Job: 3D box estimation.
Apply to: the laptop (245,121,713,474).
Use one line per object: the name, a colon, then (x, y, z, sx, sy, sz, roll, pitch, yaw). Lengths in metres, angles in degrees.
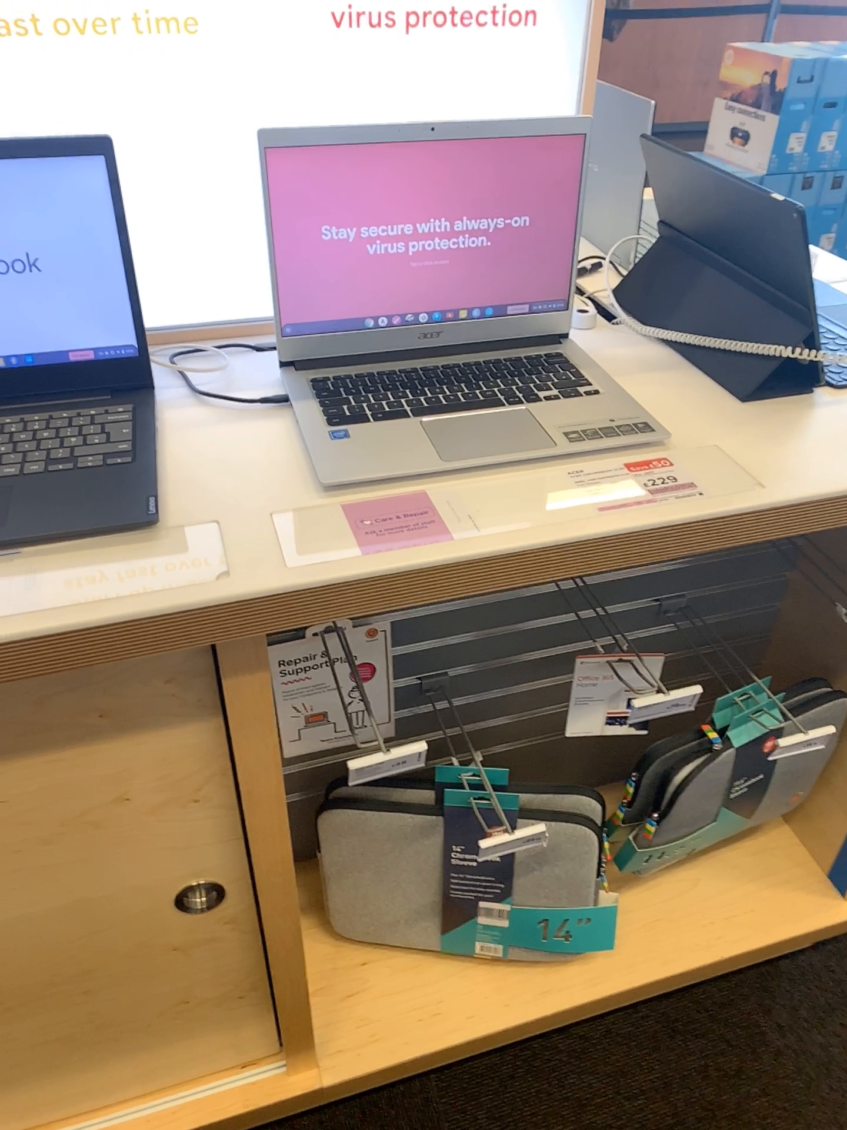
laptop: (0.029, -0.246, 0.750, 0.303, 0.206, 0.238, -10, 38, -15)

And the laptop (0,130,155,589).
laptop: (-0.379, -0.177, 0.651, 0.308, 0.204, 0.285, -8, 39, -13)
